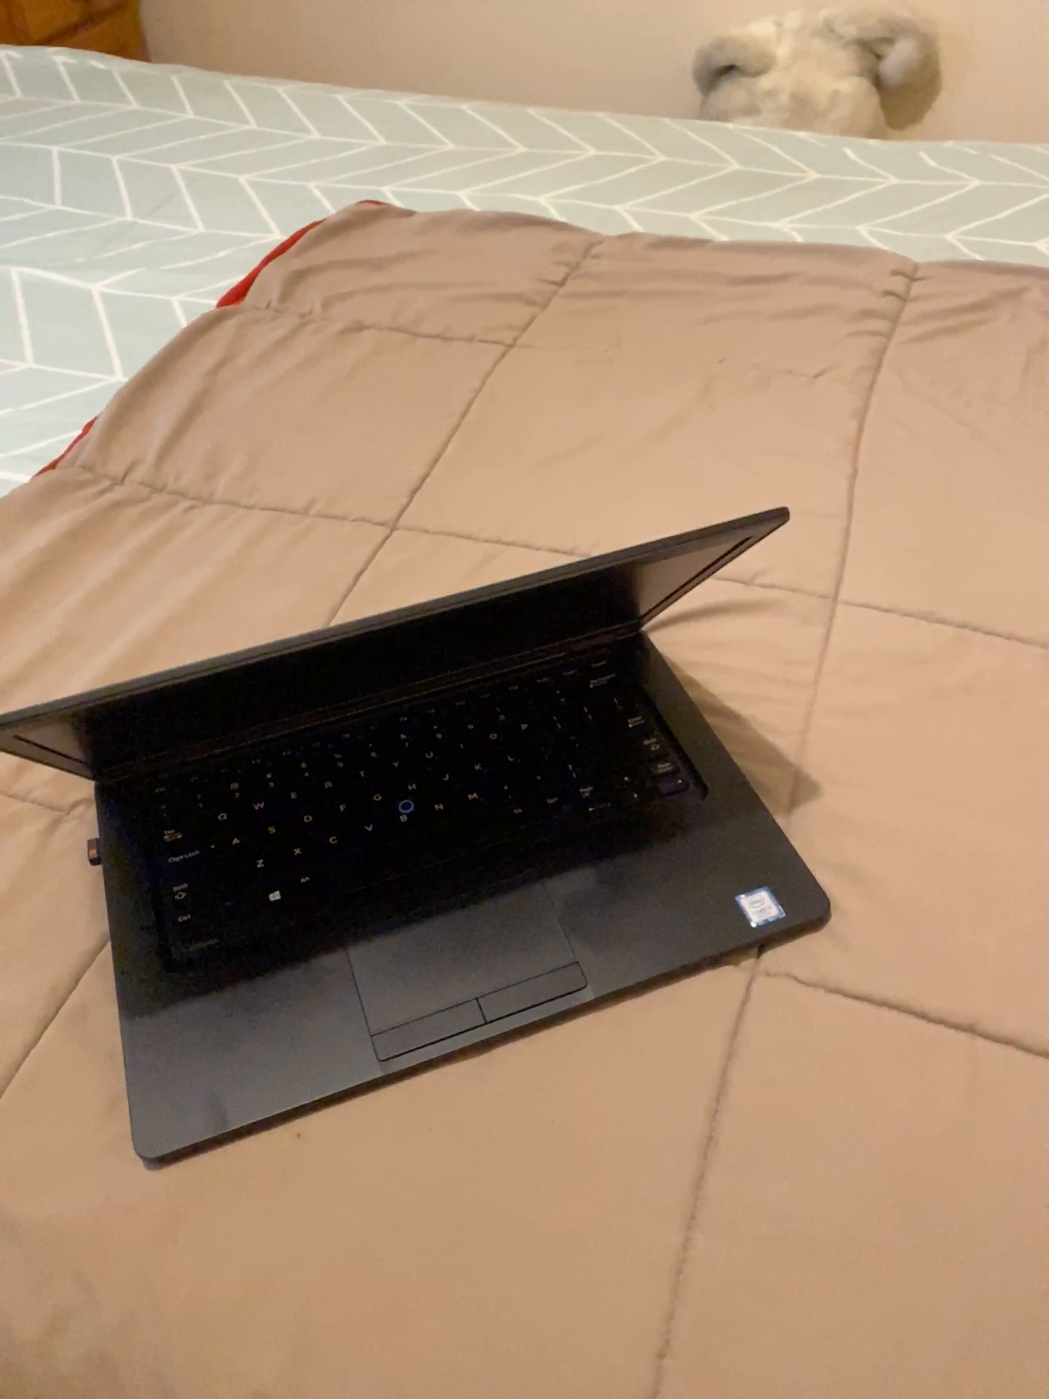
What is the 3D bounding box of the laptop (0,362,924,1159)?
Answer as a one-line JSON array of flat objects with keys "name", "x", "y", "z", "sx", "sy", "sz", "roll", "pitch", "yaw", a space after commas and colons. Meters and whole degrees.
[{"name": "laptop", "x": -0.047, "y": 0.011, "z": 0.502, "sx": 0.334, "sy": 0.183, "sz": 0.227, "roll": -16, "pitch": 47, "yaw": -13}]
